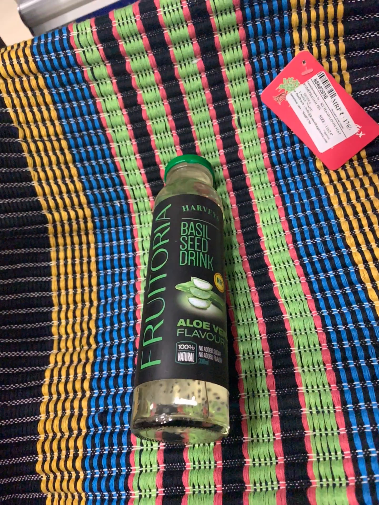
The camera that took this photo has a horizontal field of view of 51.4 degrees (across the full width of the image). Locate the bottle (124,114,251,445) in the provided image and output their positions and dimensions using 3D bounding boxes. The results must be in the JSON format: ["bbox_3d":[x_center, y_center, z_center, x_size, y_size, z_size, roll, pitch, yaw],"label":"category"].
[{"bbox_3d":[0.000,0.009,0.253,0.050,0.060,0.200,11,58,-13],"label":"bottle"}]
